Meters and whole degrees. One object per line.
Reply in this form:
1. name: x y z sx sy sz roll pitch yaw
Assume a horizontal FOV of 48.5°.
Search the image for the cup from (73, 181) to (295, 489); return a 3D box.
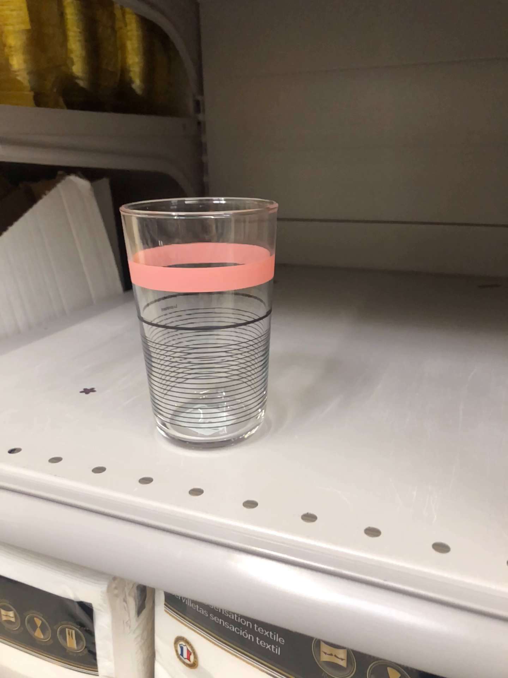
1. cup: -0.031 -0.009 0.273 0.064 0.123 0.073 -21 27 -40
